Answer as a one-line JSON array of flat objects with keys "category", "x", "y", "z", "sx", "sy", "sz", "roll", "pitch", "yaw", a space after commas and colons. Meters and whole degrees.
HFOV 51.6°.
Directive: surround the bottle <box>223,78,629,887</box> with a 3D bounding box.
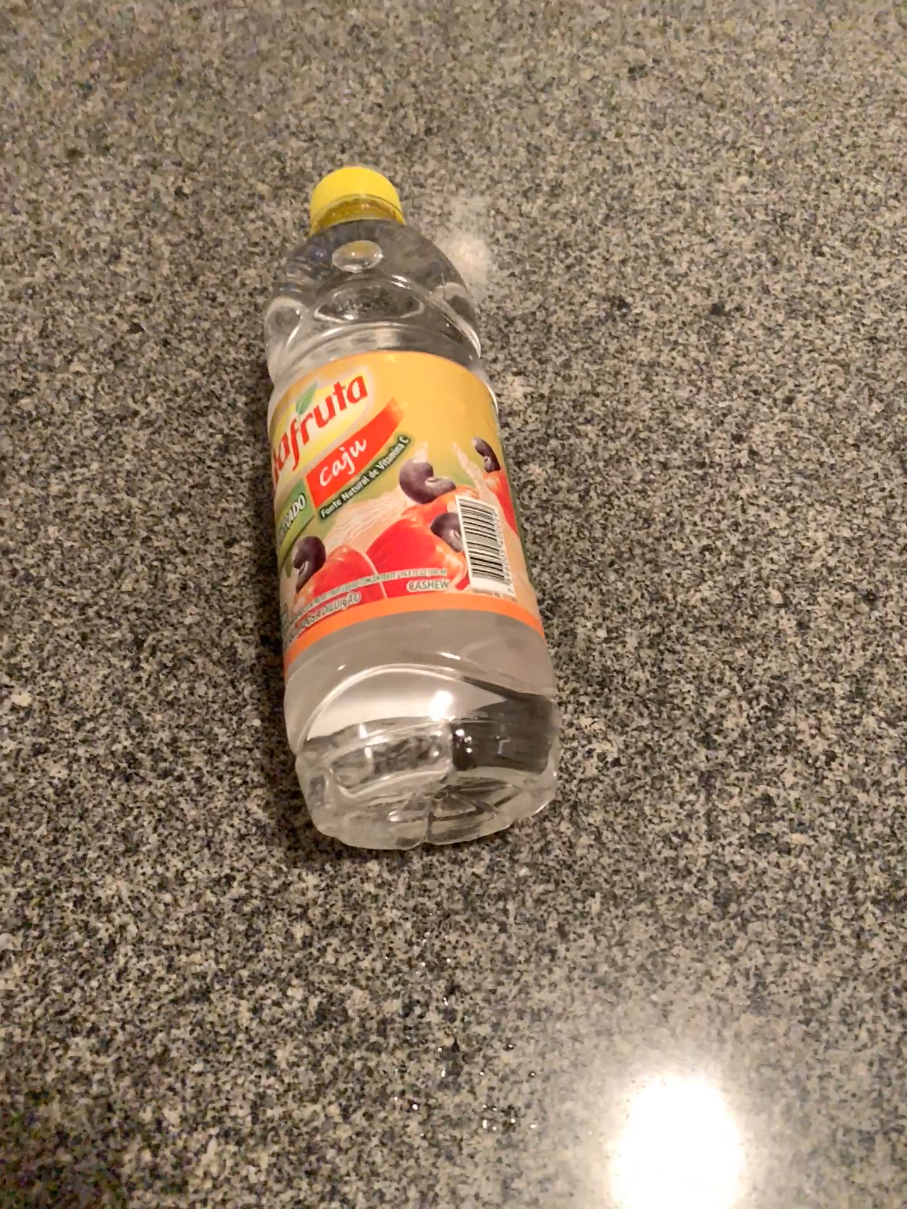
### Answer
[{"category": "bottle", "x": -0.020, "y": -0.050, "z": 0.260, "sx": 0.070, "sy": 0.060, "sz": 0.231, "roll": -7, "pitch": 59, "yaw": -6}]
